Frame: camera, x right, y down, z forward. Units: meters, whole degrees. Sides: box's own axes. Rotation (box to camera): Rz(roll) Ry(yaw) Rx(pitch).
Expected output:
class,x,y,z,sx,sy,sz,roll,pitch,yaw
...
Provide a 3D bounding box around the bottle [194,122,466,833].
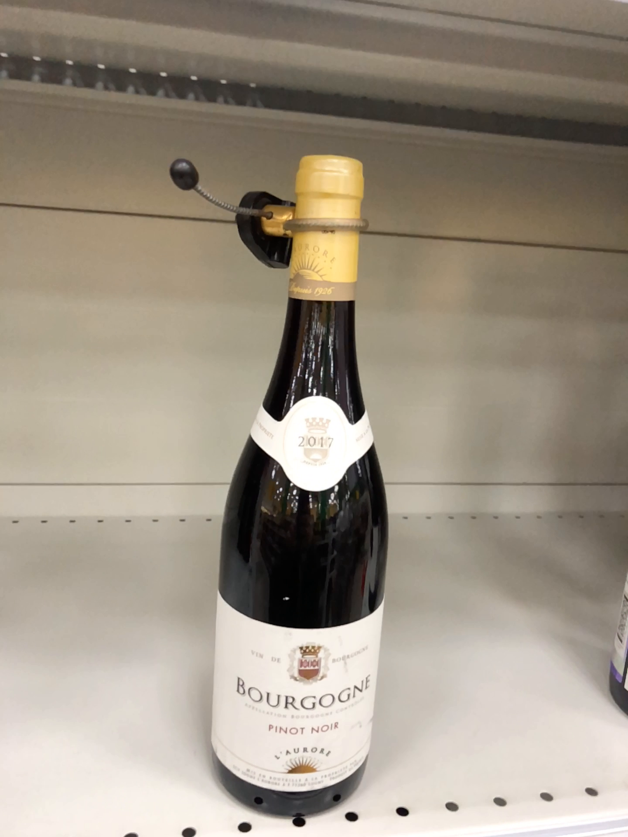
class,x,y,z,sx,sy,sz,roll,pitch,yaw
bottle,-0.004,0.030,0.320,0.090,0.289,0.090,4,12,-1
